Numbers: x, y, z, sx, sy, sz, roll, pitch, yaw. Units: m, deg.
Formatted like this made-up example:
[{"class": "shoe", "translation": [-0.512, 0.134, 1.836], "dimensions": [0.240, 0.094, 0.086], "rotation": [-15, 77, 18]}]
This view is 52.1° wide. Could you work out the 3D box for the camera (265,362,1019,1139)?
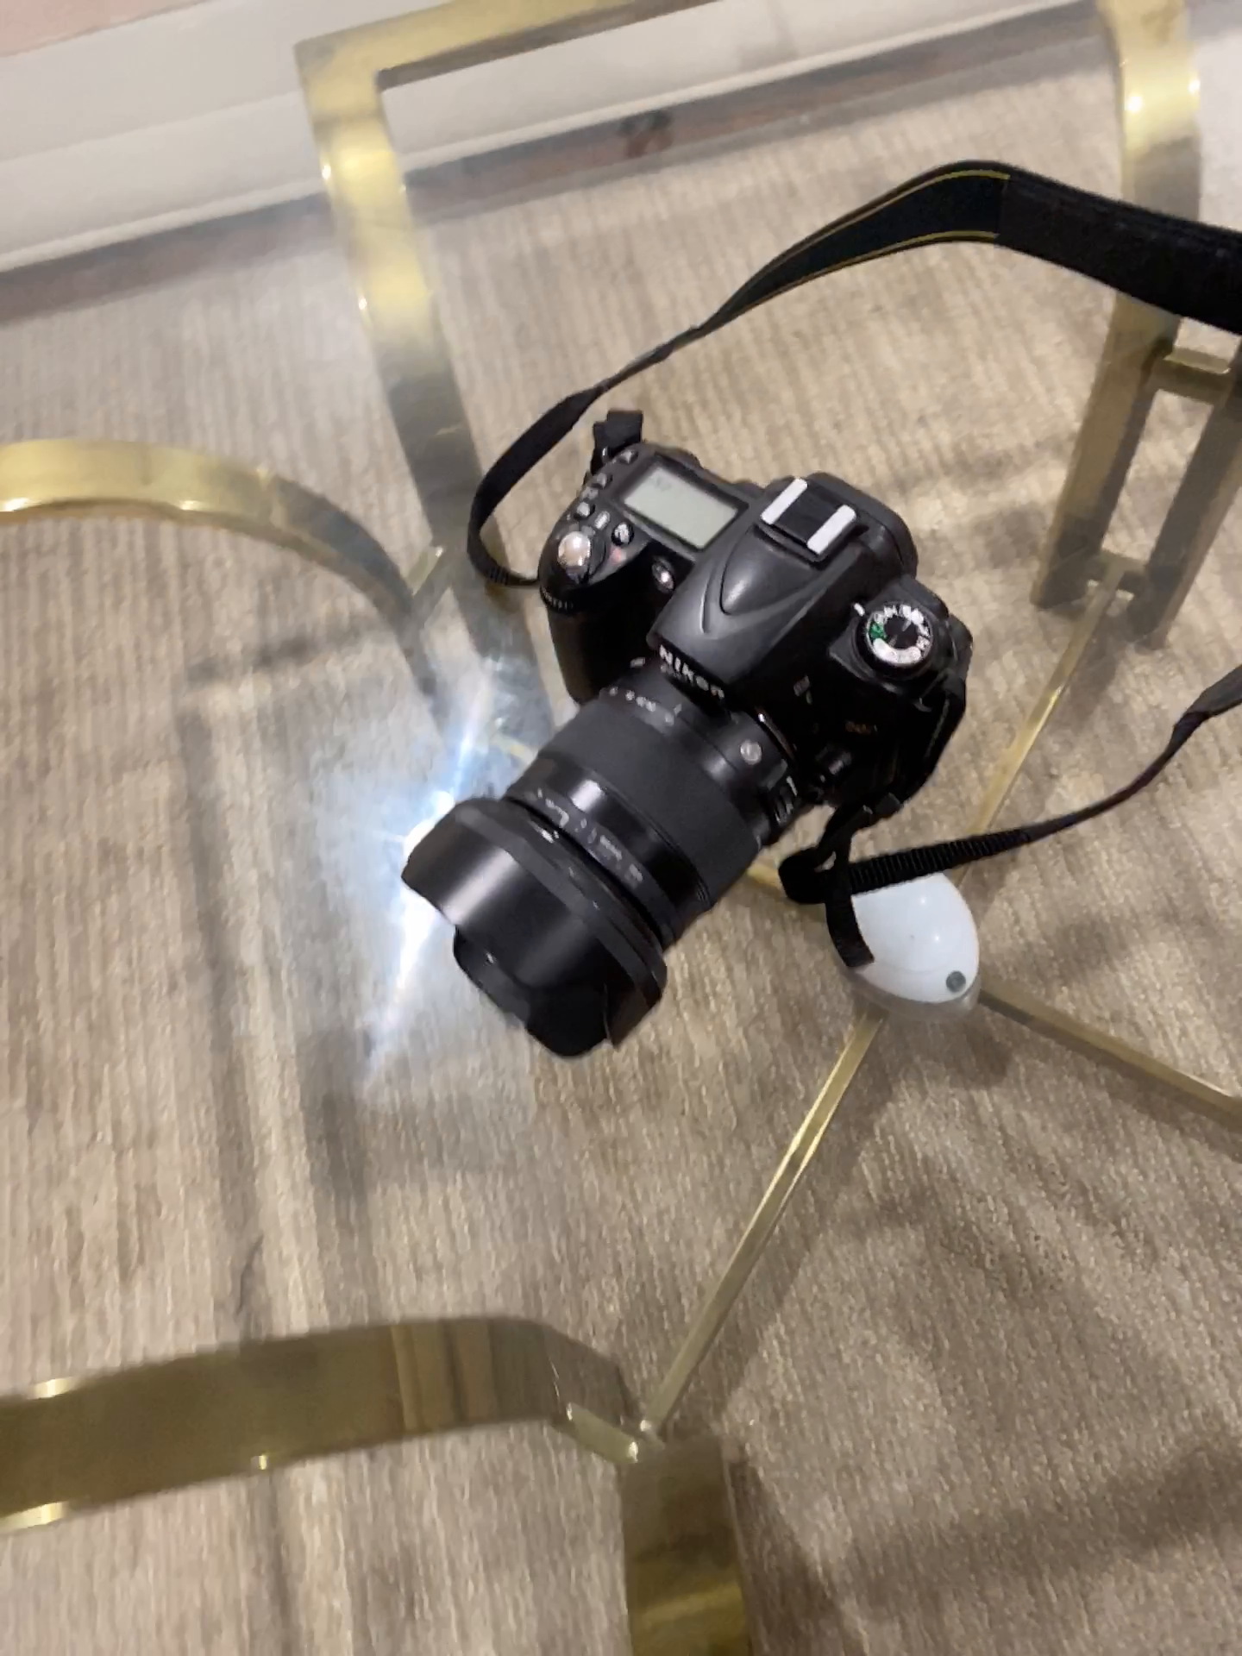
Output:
[{"class": "camera", "translation": [0.013, -0.024, 0.413], "dimensions": [0.130, 0.120, 0.180], "rotation": [35, 73, 21]}]
